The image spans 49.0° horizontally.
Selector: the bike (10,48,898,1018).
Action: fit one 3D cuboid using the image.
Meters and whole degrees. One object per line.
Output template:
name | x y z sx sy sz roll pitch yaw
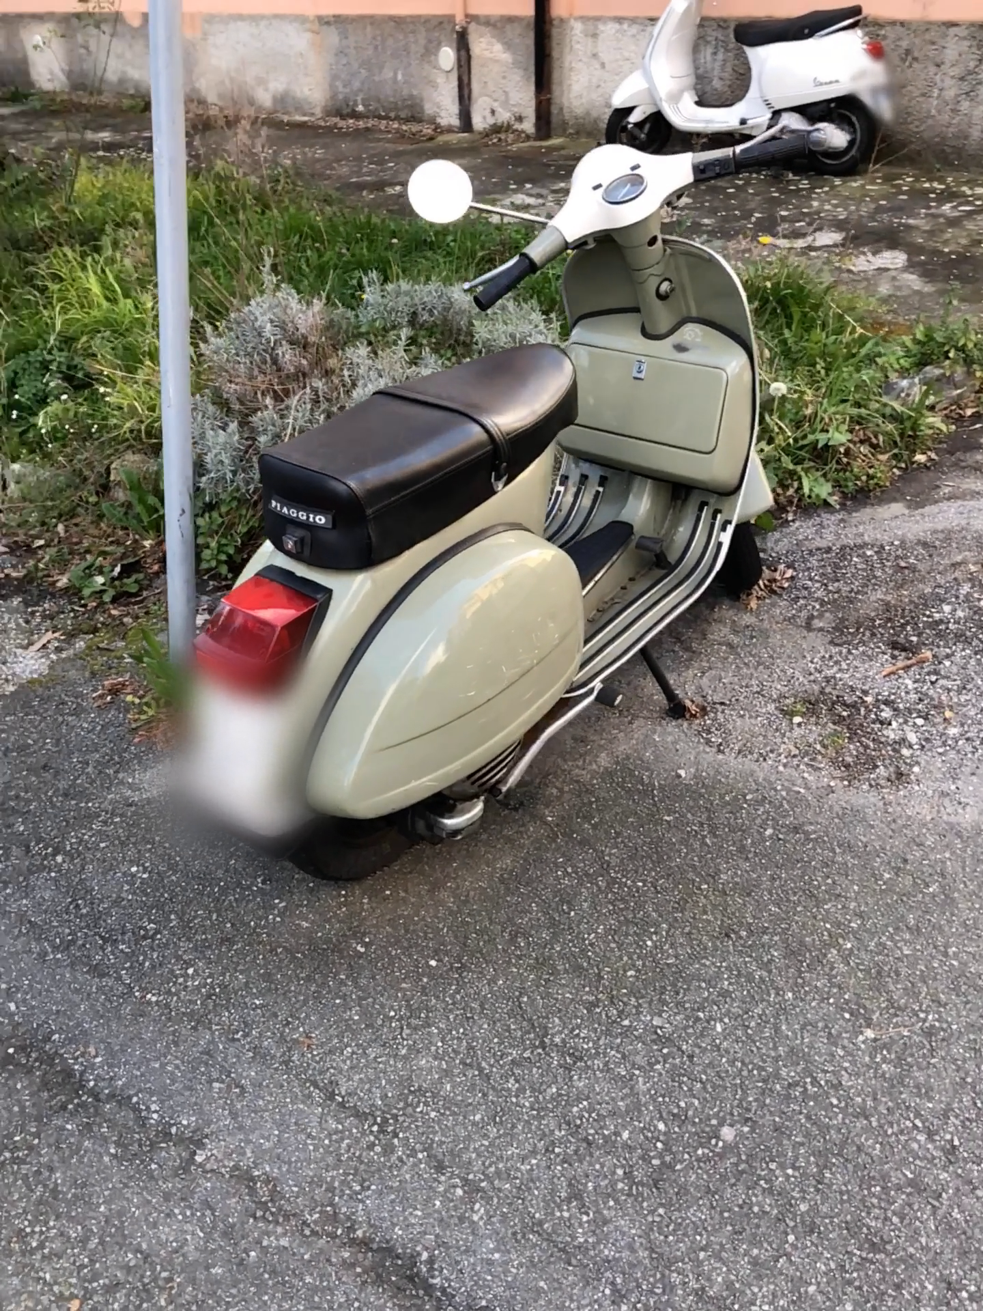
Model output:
bike | 0.077 -0.363 1.930 0.622 1.027 1.446 21 43 28
